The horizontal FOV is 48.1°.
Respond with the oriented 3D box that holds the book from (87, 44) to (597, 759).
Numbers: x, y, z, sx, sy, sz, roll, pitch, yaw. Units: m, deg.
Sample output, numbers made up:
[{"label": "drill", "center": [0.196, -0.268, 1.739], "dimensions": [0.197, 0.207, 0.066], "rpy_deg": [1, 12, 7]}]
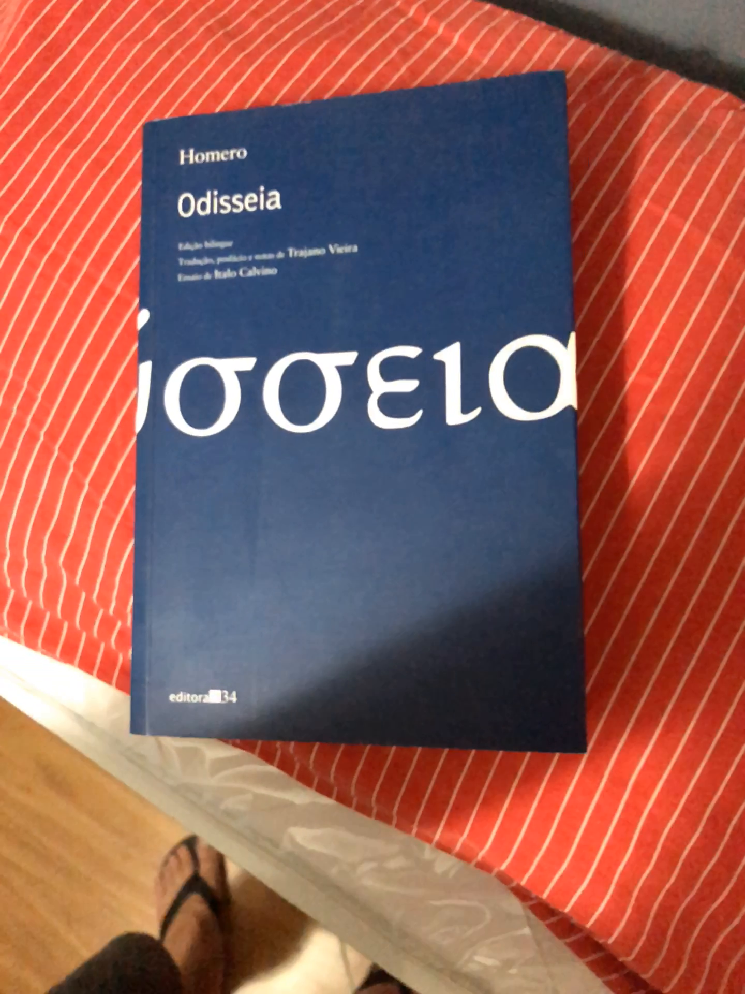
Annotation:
[{"label": "book", "center": [-0.012, -0.031, 0.302], "dimensions": [0.170, 0.040, 0.230], "rpy_deg": [-2, 83, 13]}]
